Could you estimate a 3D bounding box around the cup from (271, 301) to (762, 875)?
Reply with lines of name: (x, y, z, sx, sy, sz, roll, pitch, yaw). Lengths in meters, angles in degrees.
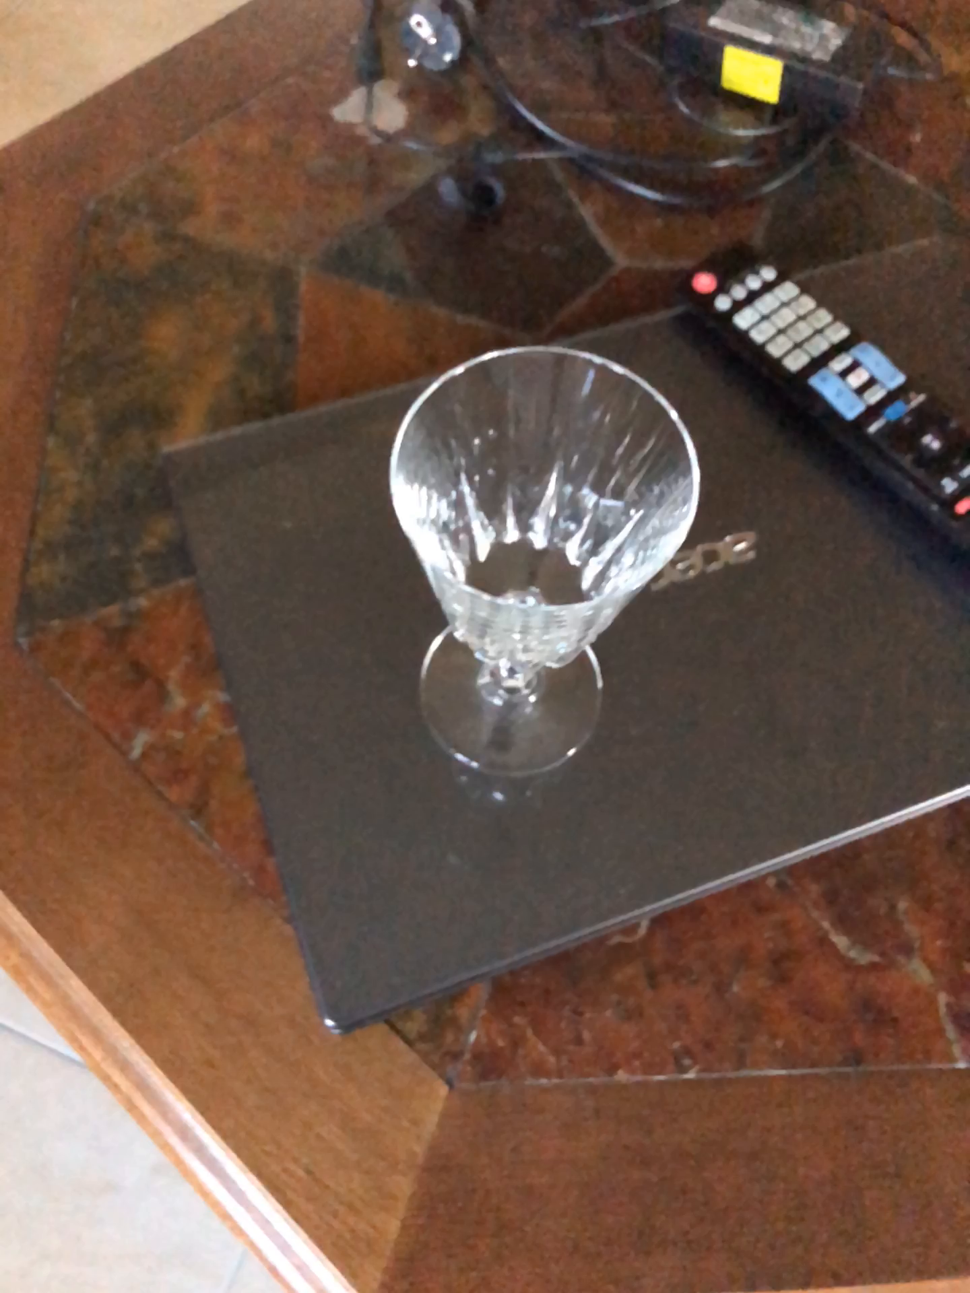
cup: (0.009, -0.009, 0.371, 0.100, 0.159, 0.100, 0, 64, -1)
